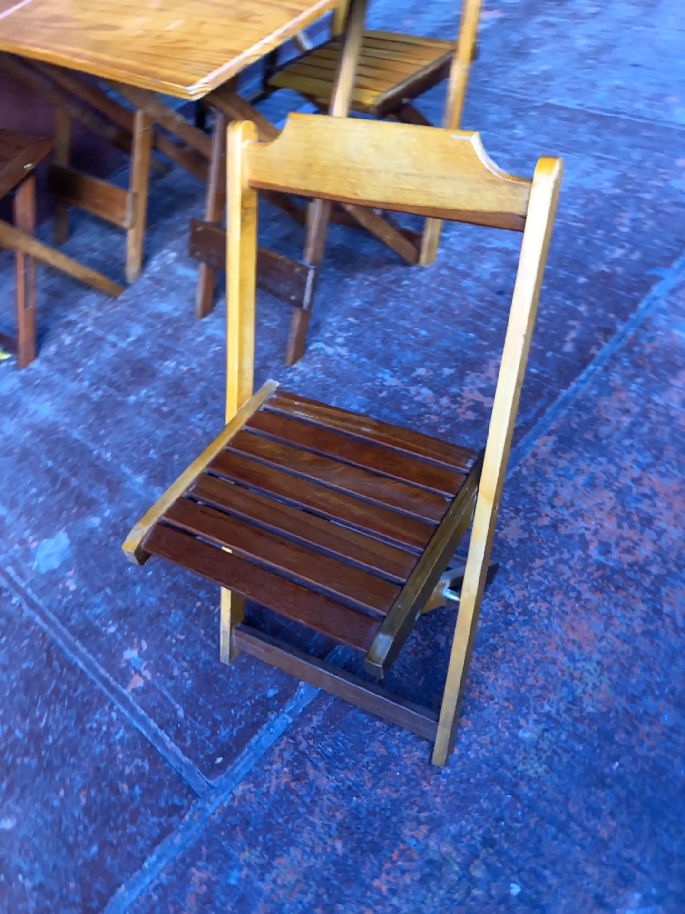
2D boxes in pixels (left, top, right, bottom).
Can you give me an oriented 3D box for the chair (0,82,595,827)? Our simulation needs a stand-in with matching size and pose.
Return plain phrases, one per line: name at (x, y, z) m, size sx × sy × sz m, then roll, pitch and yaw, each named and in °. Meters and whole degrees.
chair at (-0.020, 0.029, 0.950) m, size 0.451 × 0.735 × 0.472 m, roll 19°, pitch 57°, yaw 25°
